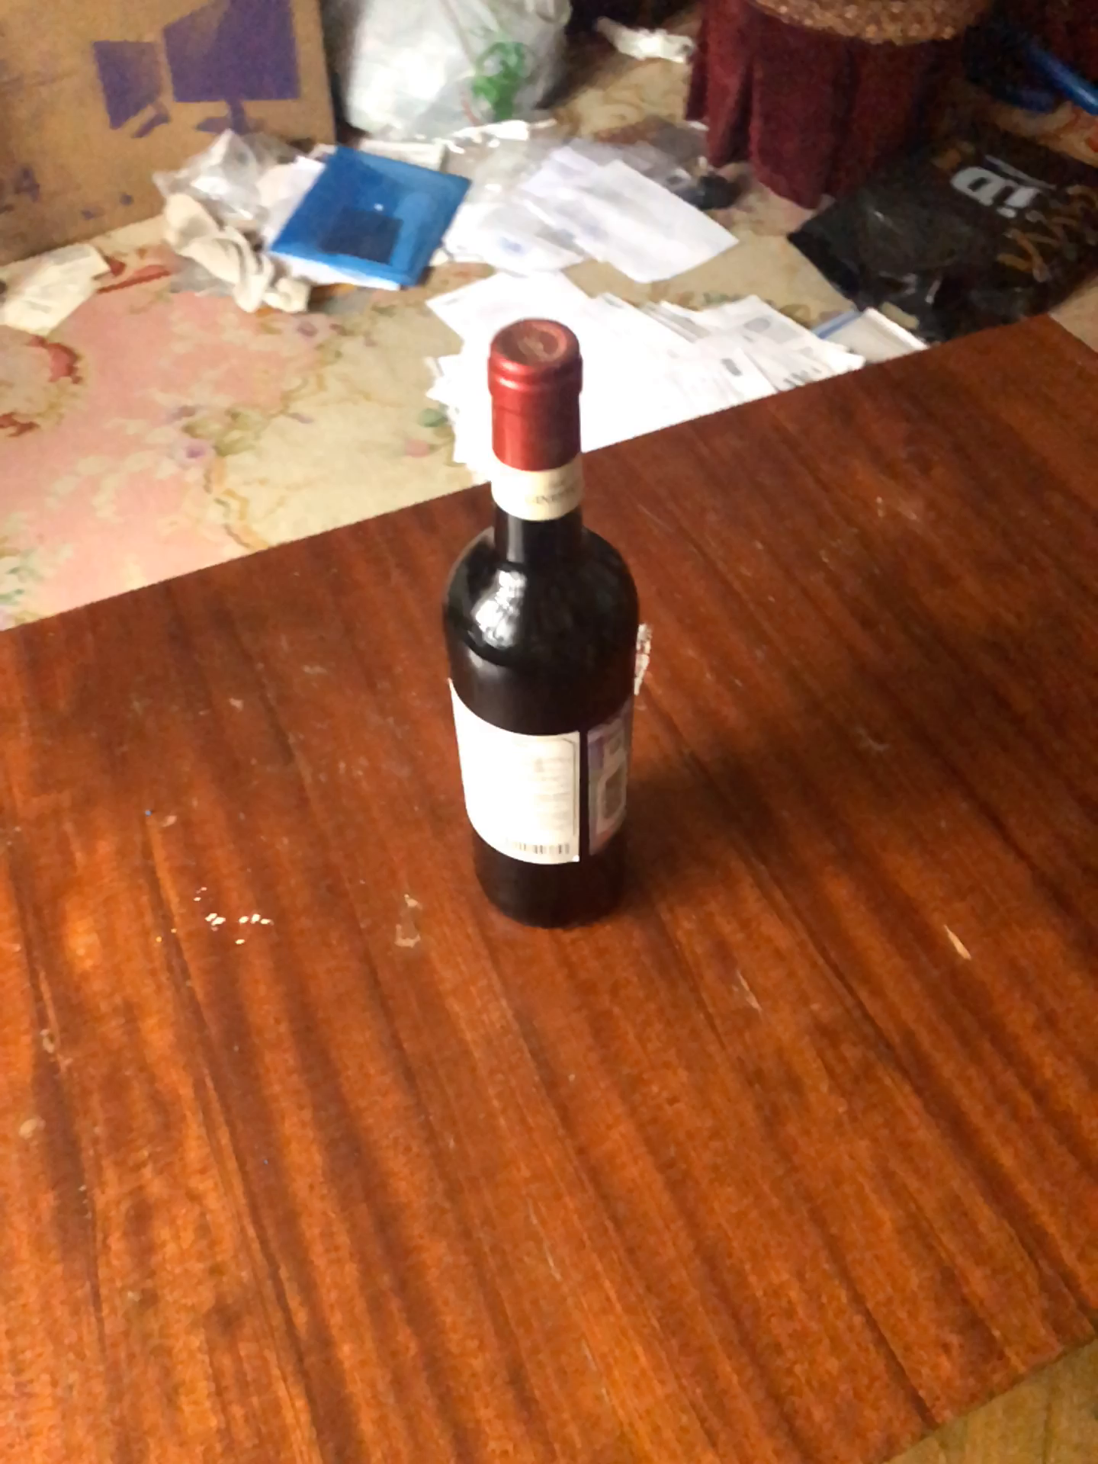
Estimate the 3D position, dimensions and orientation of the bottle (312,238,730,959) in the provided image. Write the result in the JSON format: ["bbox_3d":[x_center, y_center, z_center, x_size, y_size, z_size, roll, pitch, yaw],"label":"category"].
[{"bbox_3d":[-0.005,-0.030,0.459,0.090,0.269,0.090,0,53,0],"label":"bottle"}]
